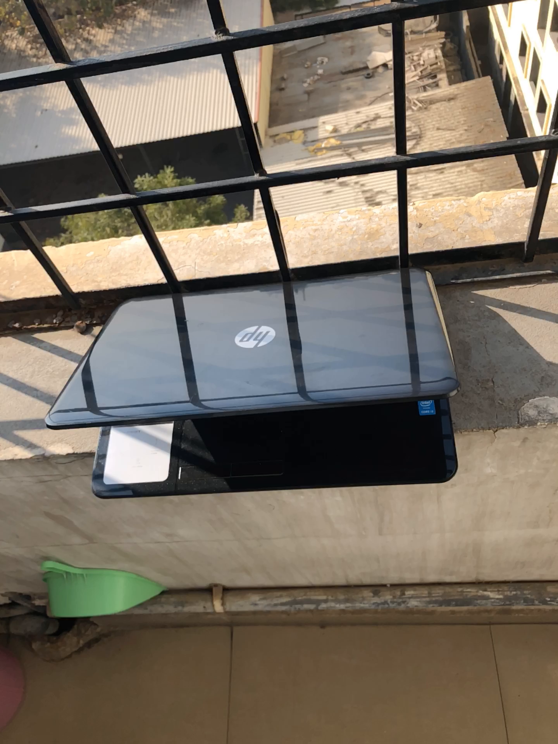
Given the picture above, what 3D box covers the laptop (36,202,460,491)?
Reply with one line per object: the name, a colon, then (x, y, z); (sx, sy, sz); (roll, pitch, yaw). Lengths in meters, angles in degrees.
laptop: (-0.025, -0.024, 0.627); (0.363, 0.113, 0.245); (-5, 56, 9)
